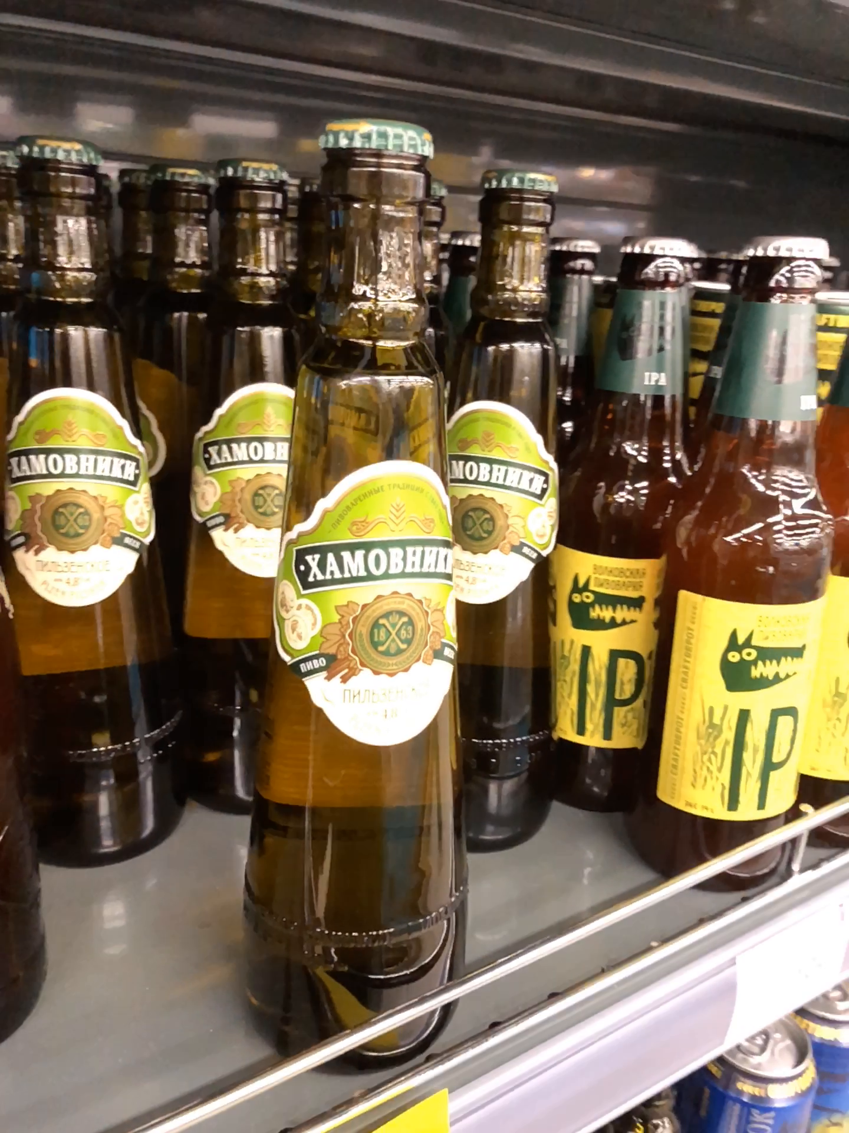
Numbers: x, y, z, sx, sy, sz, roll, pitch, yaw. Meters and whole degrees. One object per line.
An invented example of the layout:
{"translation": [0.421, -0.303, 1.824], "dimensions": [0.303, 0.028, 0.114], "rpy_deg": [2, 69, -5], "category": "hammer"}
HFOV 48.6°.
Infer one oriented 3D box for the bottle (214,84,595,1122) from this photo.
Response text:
{"translation": [-0.014, 0.017, 0.266], "dimensions": [0.070, 0.261, 0.070], "rpy_deg": [3, 18, -1], "category": "bottle"}
